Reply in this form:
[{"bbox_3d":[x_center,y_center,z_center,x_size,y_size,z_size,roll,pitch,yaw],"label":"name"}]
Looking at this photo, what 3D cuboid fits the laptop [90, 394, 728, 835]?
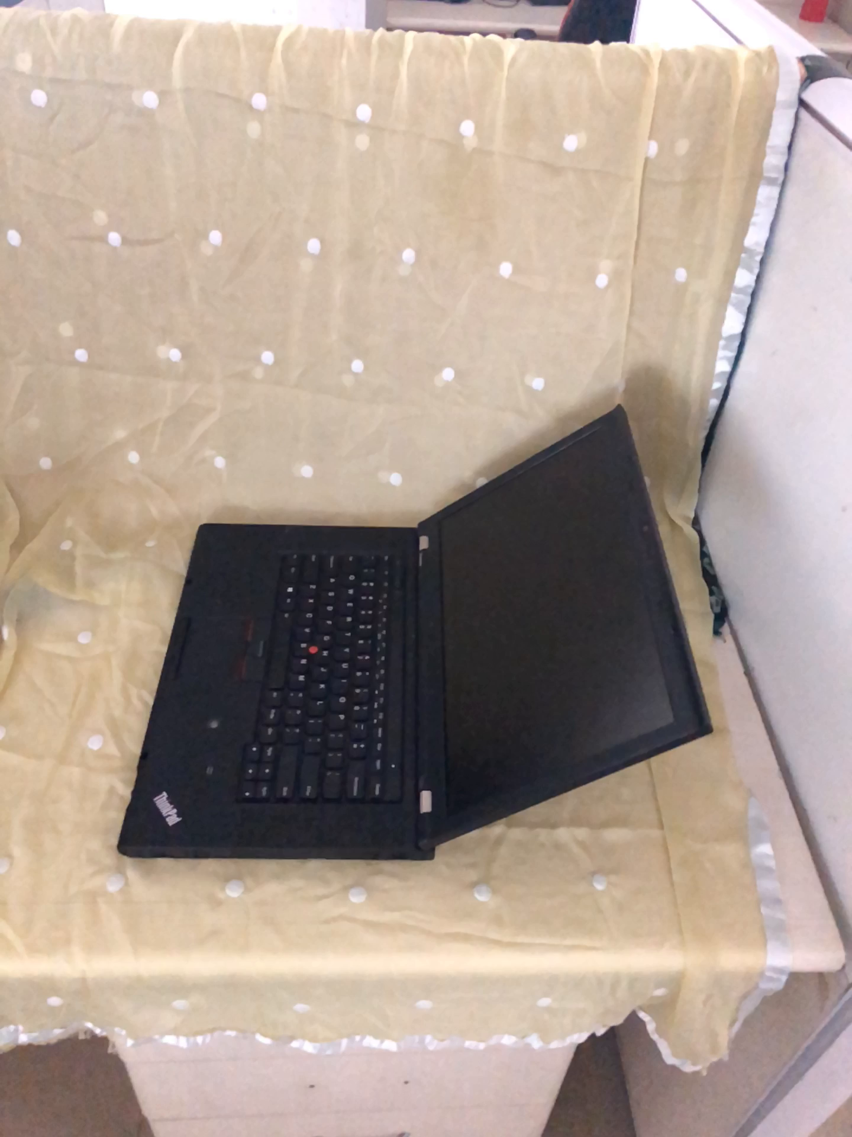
[{"bbox_3d":[-0.018,0.023,0.798,0.424,0.156,0.349,-1,44,1],"label":"laptop"}]
